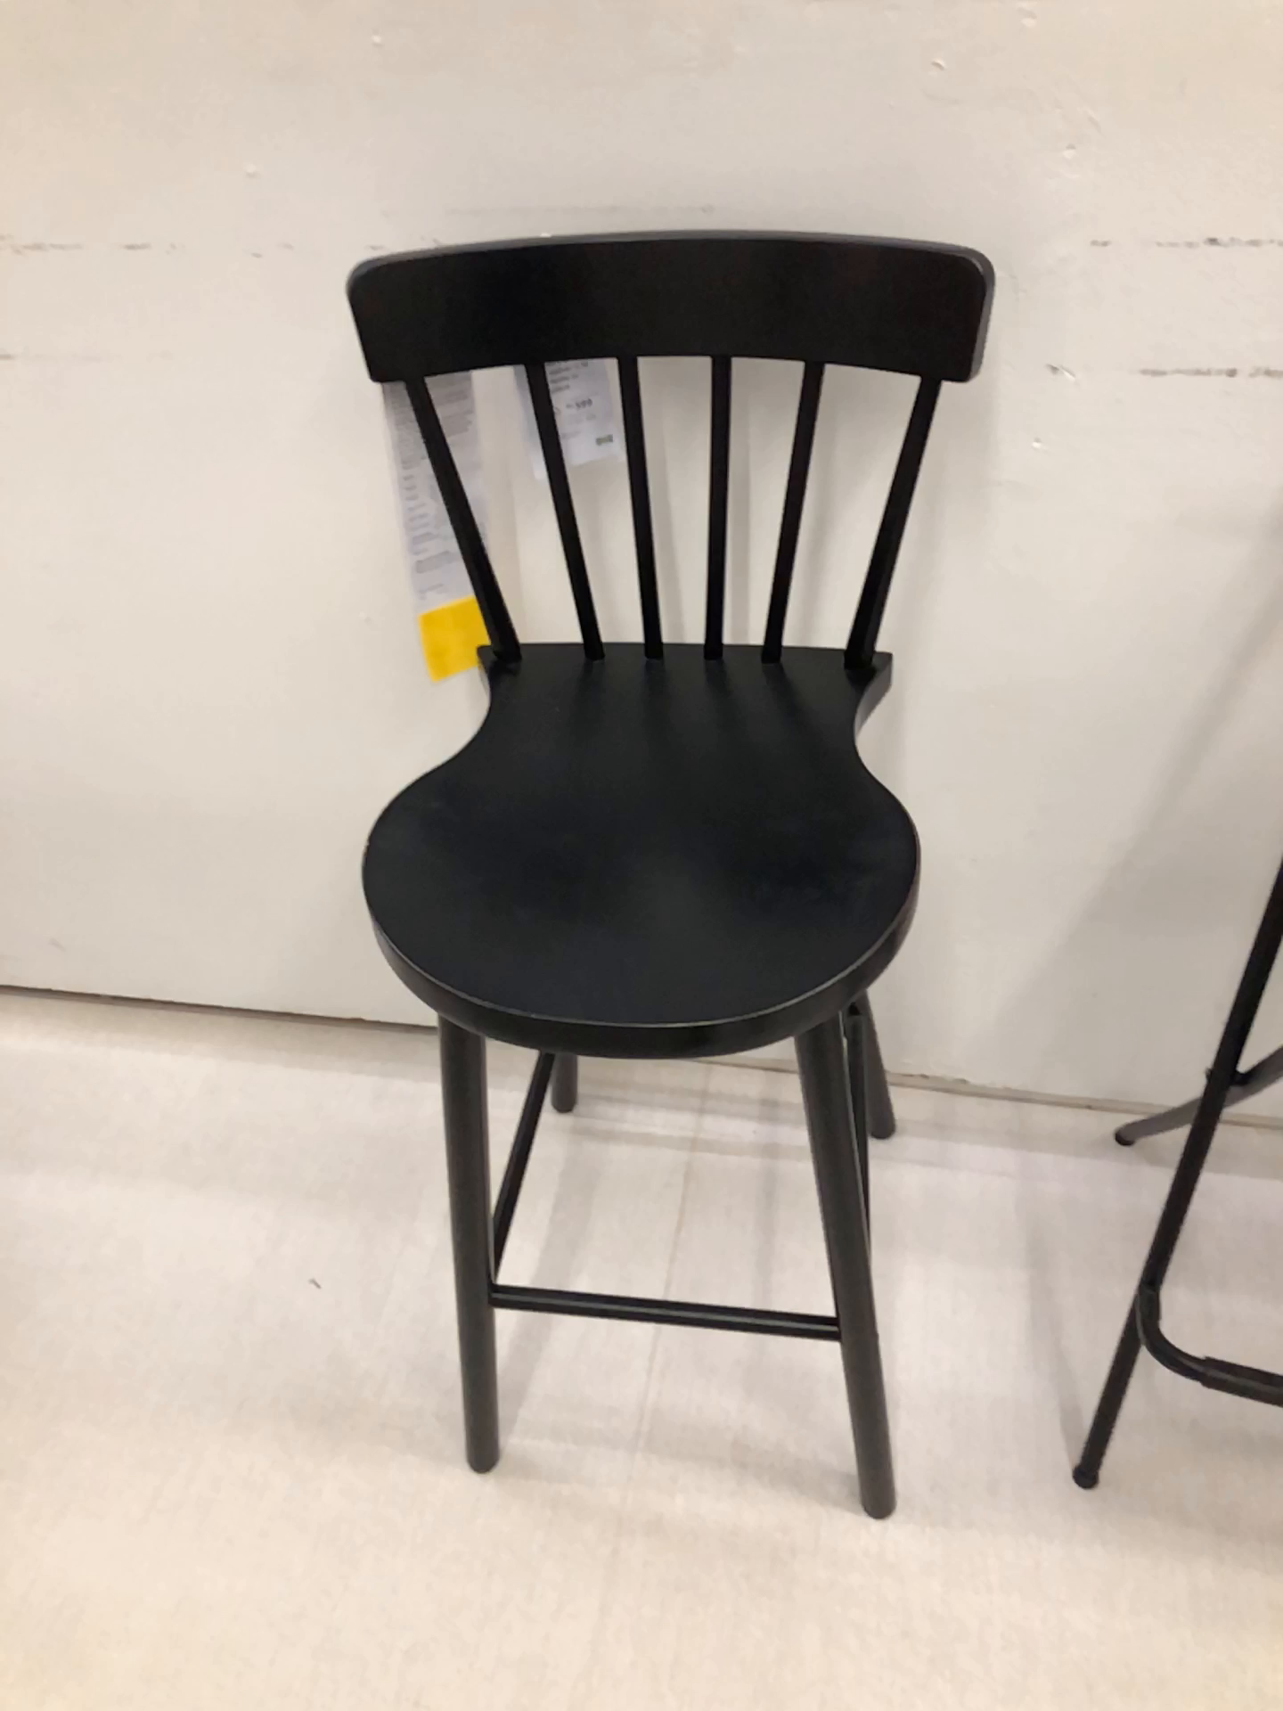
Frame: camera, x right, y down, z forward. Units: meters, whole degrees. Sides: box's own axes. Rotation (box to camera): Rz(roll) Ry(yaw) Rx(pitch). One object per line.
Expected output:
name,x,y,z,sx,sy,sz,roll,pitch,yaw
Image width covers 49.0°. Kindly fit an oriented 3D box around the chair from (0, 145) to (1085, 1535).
chair,-0.001,0.041,1.018,0.460,0.874,0.483,2,43,9
